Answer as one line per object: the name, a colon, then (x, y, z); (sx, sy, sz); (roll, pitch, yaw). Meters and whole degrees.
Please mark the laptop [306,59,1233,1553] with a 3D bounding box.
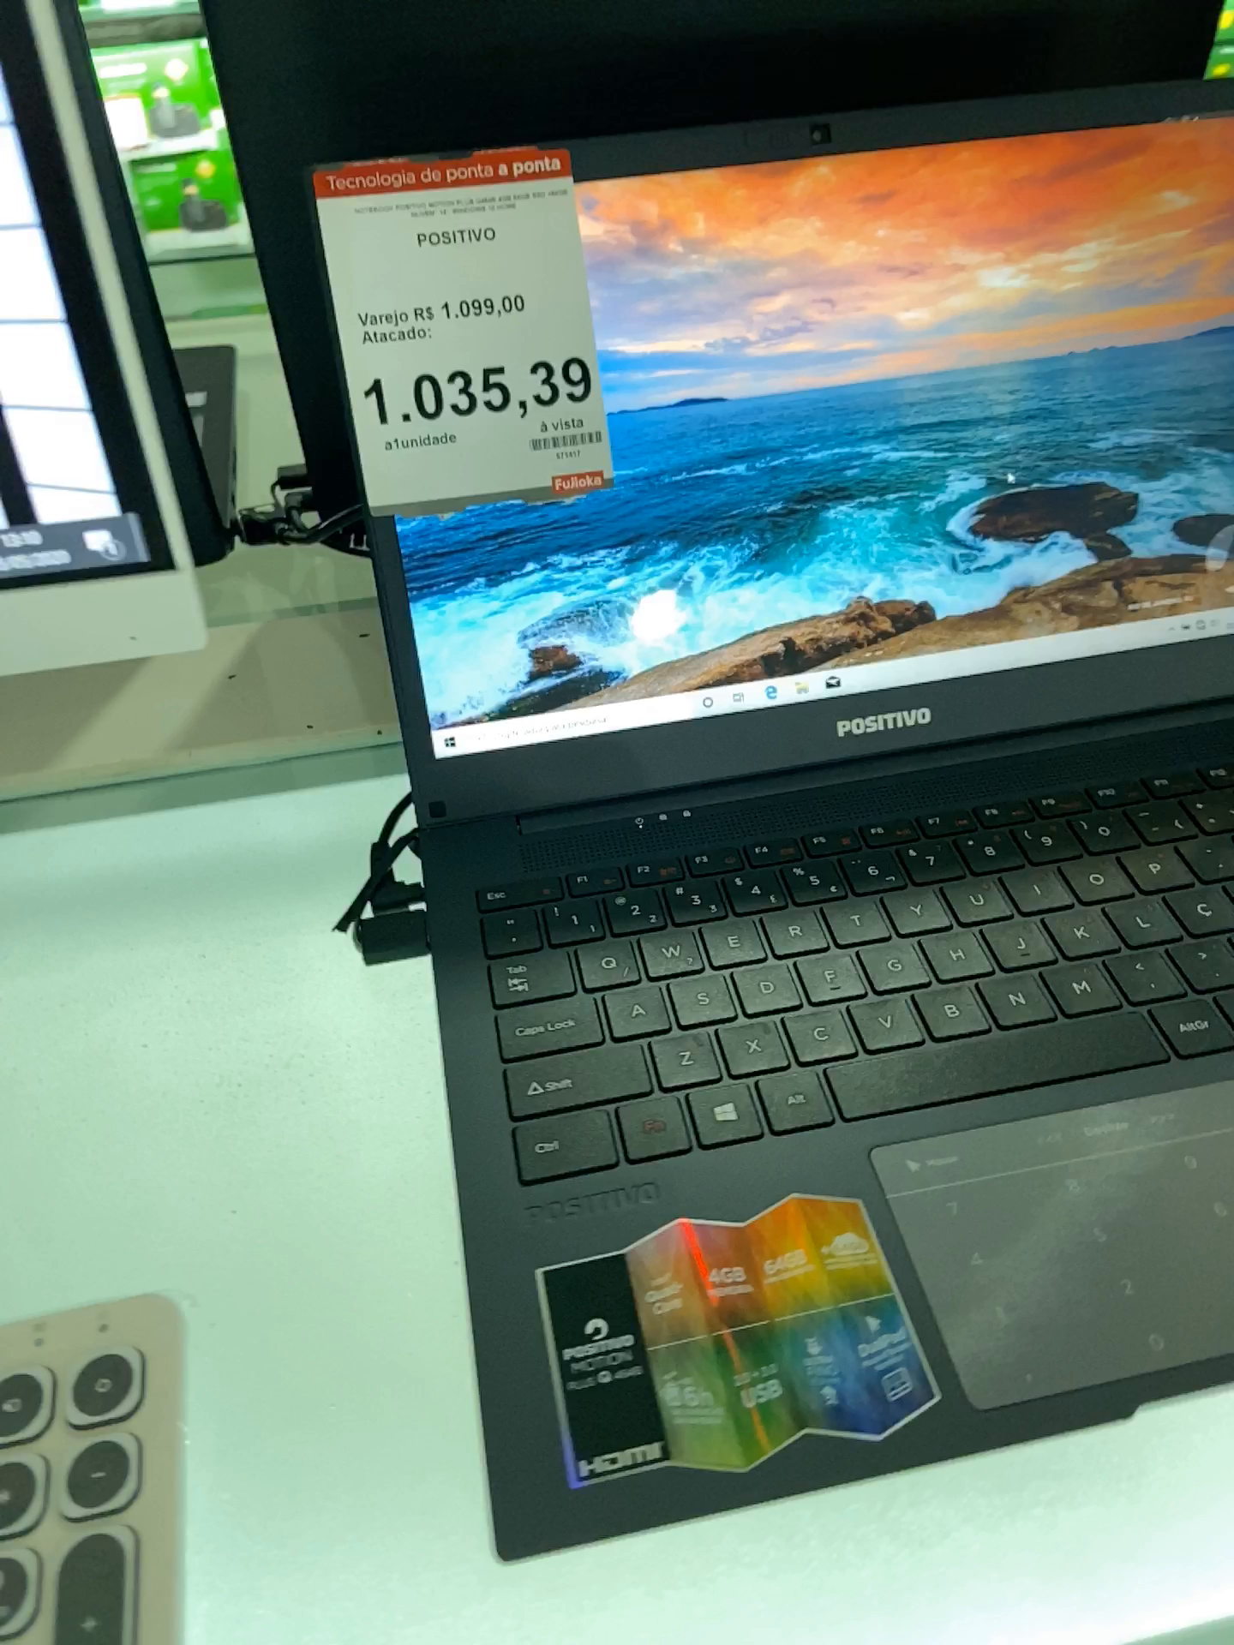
laptop: (0.101, -0.060, 0.354); (0.334, 0.175, 0.356); (-9, 42, -7)
